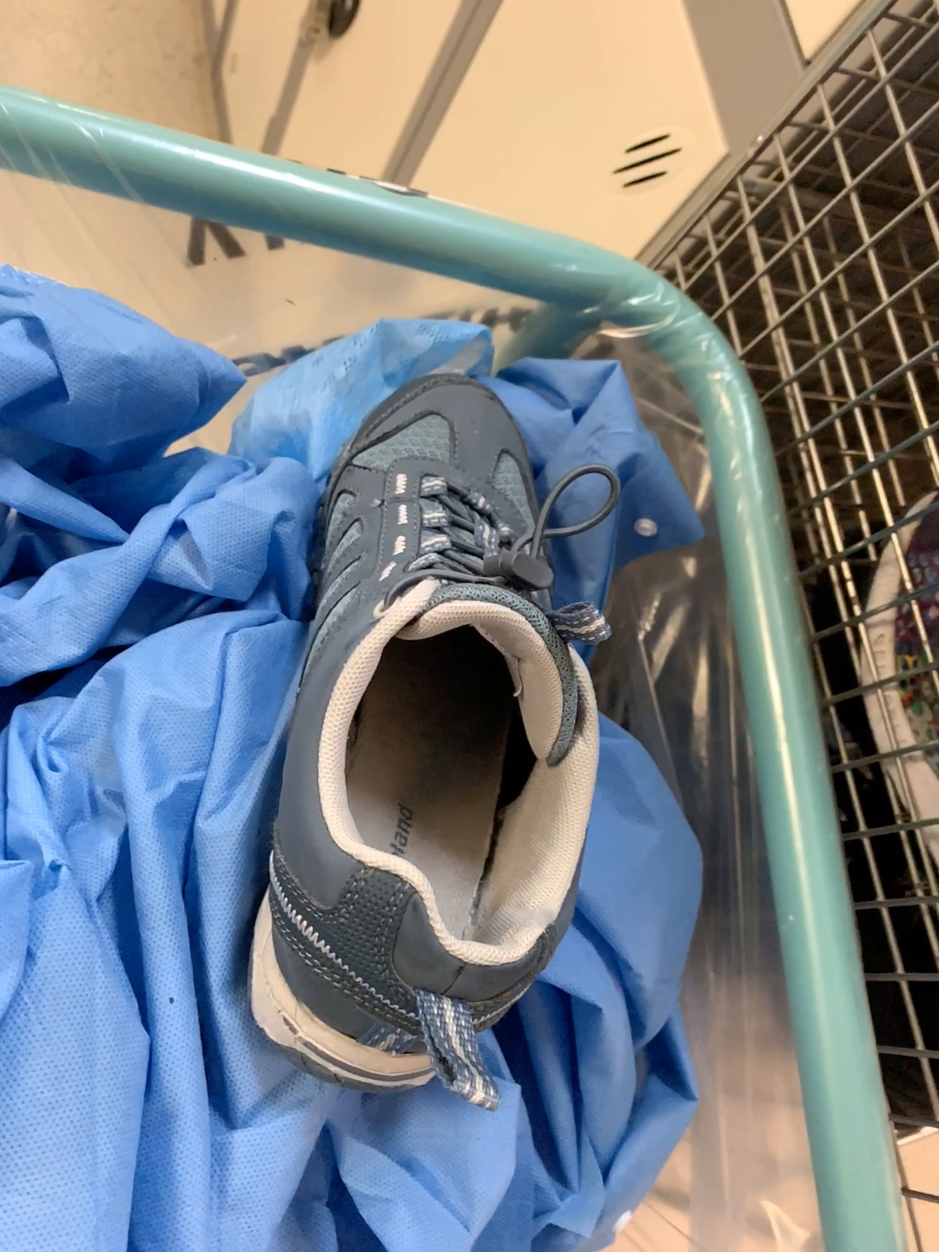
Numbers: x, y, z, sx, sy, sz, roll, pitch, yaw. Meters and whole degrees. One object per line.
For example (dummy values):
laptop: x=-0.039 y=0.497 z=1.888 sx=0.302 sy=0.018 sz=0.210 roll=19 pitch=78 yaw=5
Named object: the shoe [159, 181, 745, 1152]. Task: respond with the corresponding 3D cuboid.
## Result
shoe: x=0.000 y=0.010 z=0.297 sx=0.101 sy=0.109 sz=0.241 roll=20 pitch=64 yaw=-18
